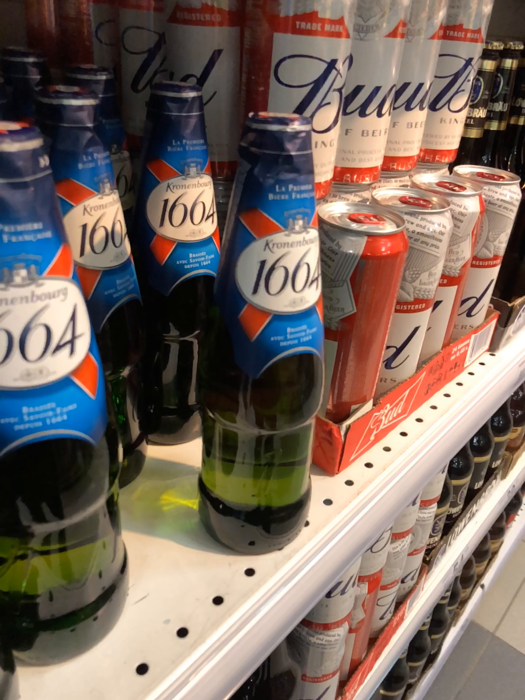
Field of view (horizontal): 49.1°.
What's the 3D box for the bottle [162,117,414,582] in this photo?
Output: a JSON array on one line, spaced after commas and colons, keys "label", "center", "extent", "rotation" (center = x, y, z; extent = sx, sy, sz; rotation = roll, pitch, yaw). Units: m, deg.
[{"label": "bottle", "center": [0.000, 0.003, 0.298], "extent": [0.080, 0.219, 0.080], "rotation": [4, 30, -2]}]
